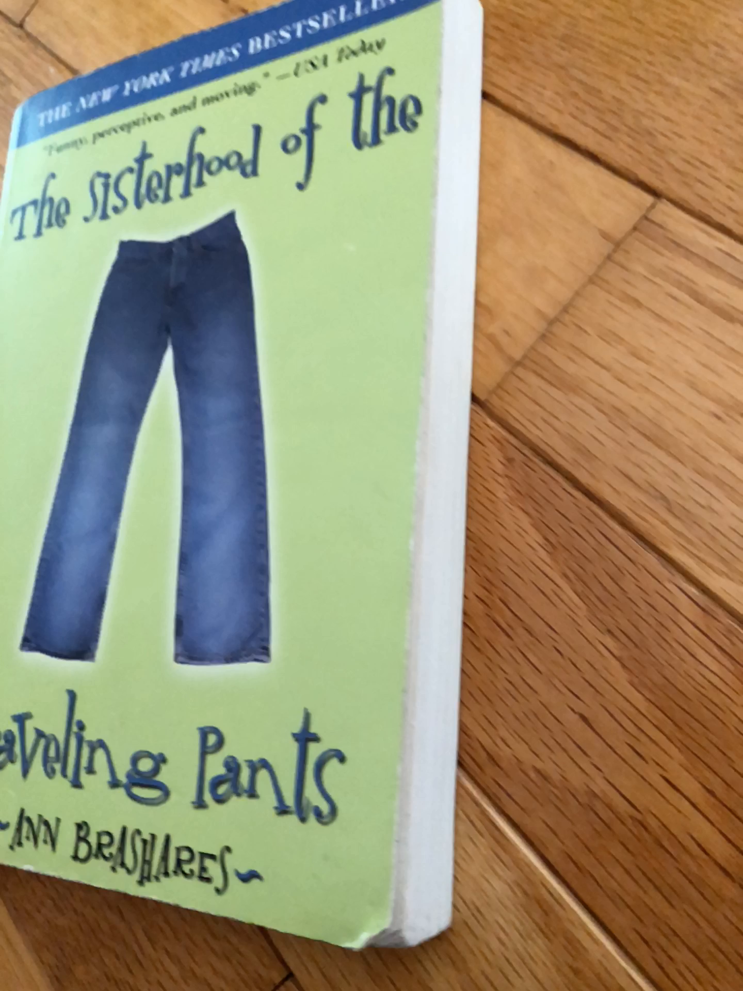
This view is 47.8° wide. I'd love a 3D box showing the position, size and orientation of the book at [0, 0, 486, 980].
[{"bbox_3d":[-0.047,-0.017,0.203,0.141,0.025,0.209,-3,75,27],"label":"book"}]
